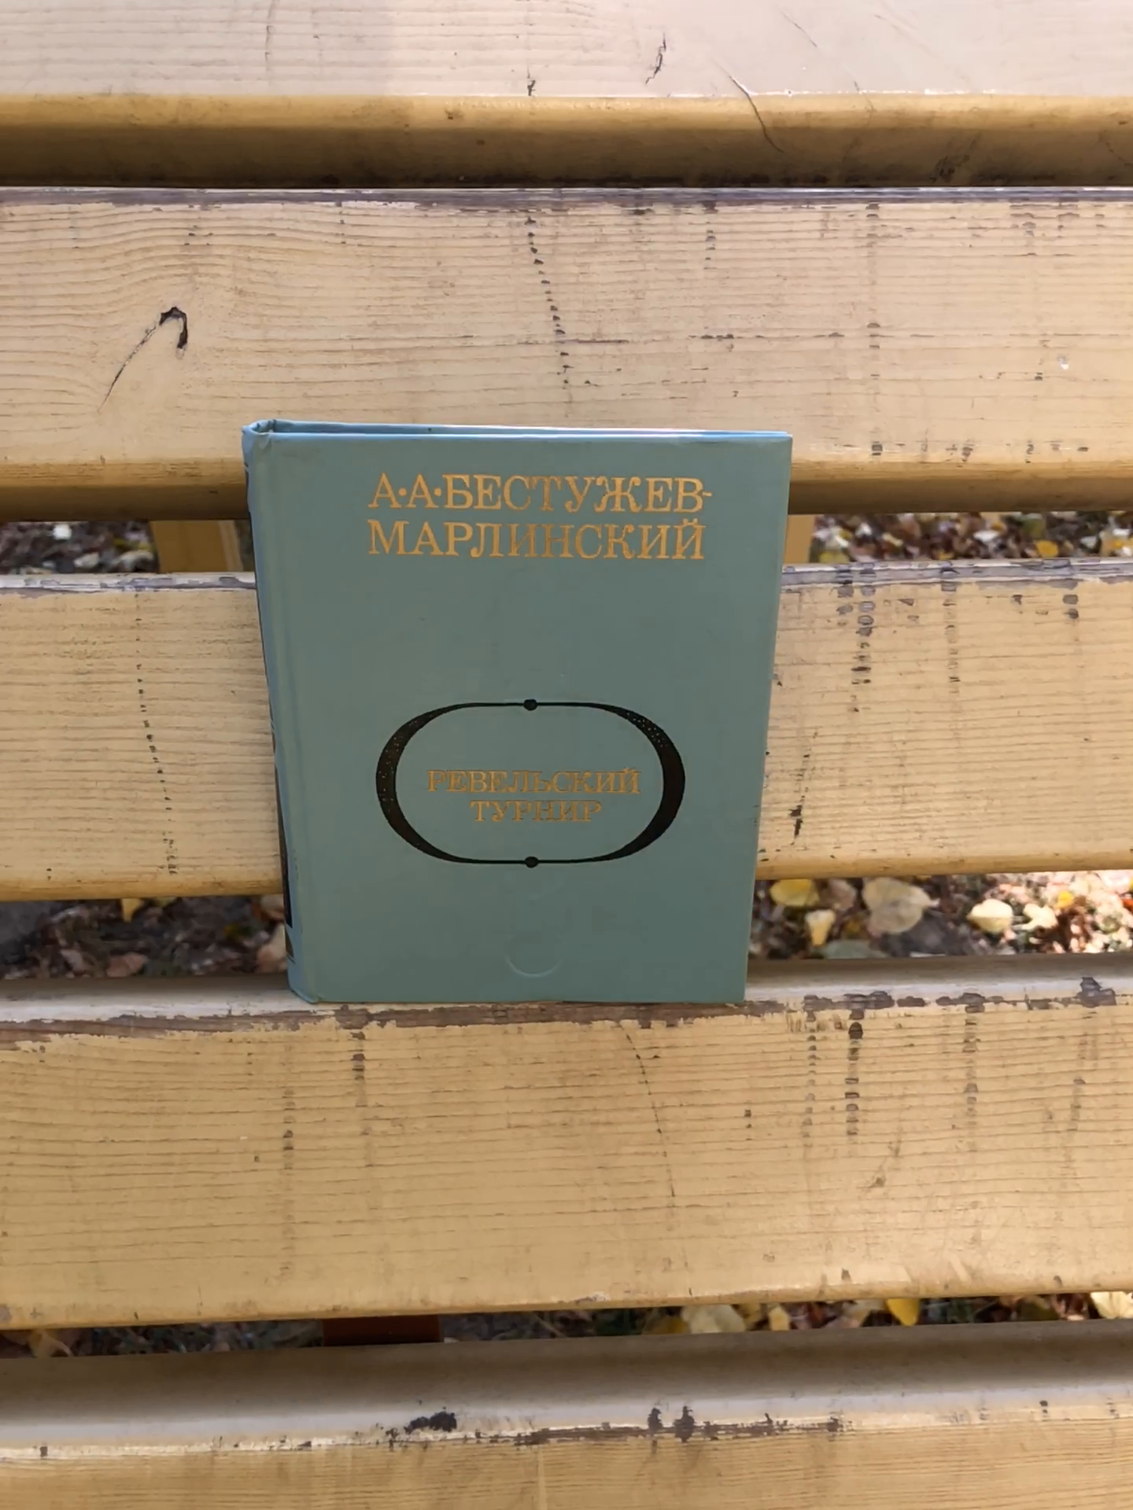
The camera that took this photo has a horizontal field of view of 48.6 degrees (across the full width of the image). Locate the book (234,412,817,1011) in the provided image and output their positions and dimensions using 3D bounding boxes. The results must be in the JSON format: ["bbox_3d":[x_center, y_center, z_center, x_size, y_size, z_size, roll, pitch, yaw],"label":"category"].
[{"bbox_3d":[-0.009,-0.006,0.347,0.140,0.169,0.022,1,26,3],"label":"book"}]
